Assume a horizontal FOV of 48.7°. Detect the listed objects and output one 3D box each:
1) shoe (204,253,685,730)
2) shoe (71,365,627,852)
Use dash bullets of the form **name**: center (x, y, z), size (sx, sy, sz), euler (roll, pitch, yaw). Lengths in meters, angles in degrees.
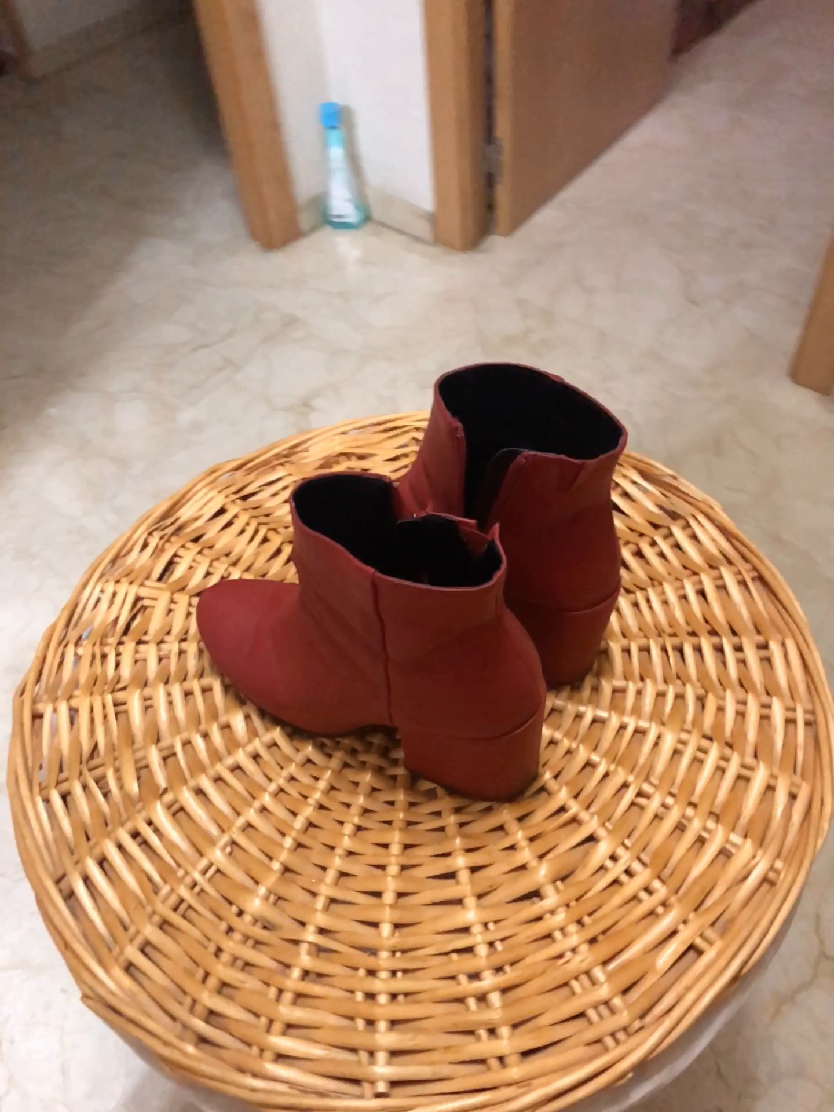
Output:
- **shoe**: center (0.013, -0.040, 0.556), size (0.245, 0.184, 0.099), euler (30, 59, 26)
- **shoe**: center (-0.030, 0.029, 0.500), size (0.245, 0.184, 0.099), euler (20, 55, 20)
